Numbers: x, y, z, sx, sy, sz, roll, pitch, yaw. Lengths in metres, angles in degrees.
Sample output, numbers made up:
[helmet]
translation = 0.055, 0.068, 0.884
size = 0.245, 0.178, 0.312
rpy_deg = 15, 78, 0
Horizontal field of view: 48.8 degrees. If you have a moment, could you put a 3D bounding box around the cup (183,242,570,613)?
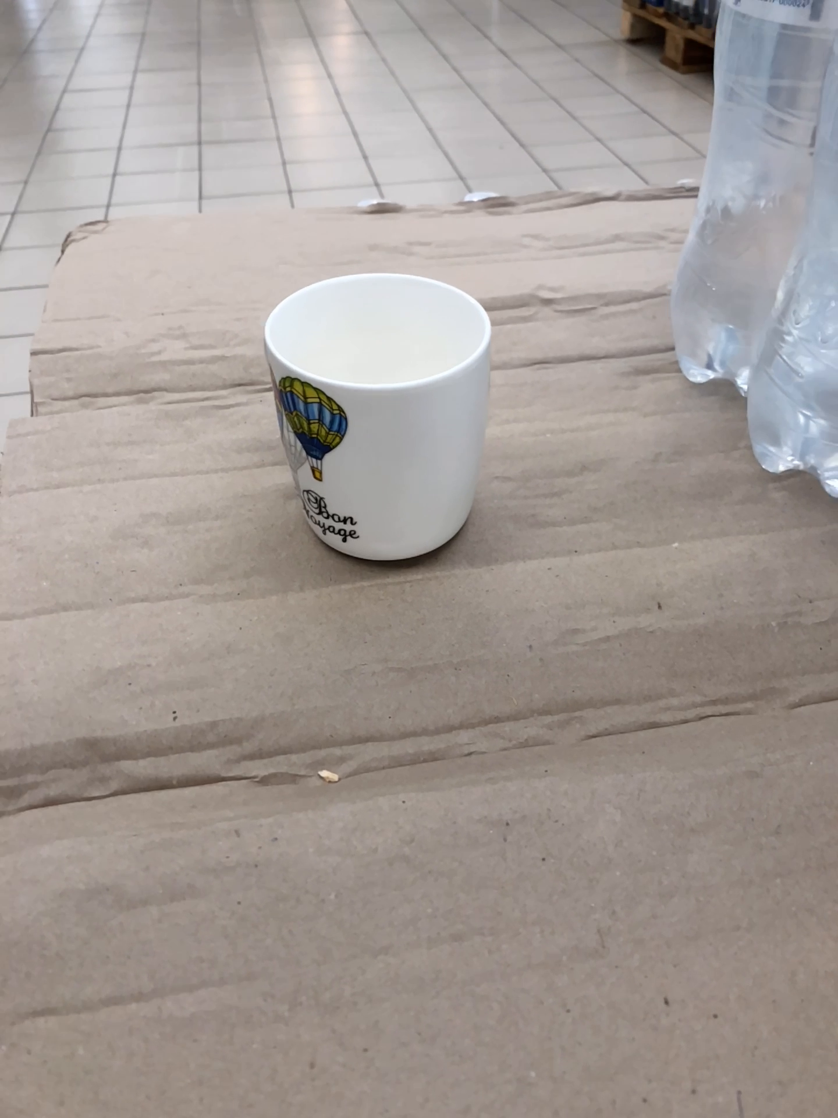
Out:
[cup]
translation = -0.019, -0.063, 0.390
size = 0.093, 0.082, 0.132
rpy_deg = -28, 47, -28
